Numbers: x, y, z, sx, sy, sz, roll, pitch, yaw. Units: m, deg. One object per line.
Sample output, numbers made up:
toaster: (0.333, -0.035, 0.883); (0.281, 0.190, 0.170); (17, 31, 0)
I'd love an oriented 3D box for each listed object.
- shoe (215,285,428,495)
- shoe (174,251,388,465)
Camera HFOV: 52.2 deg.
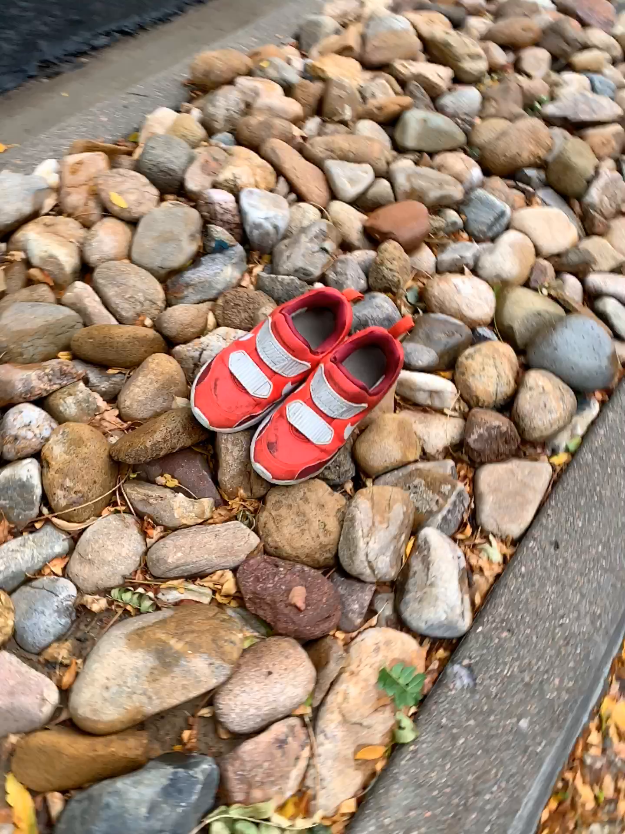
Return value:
shoe: (0.010, -0.024, 0.671); (0.210, 0.100, 0.080); (-43, 82, -8)
shoe: (-0.032, -0.059, 0.667); (0.210, 0.100, 0.080); (-42, 81, -15)
